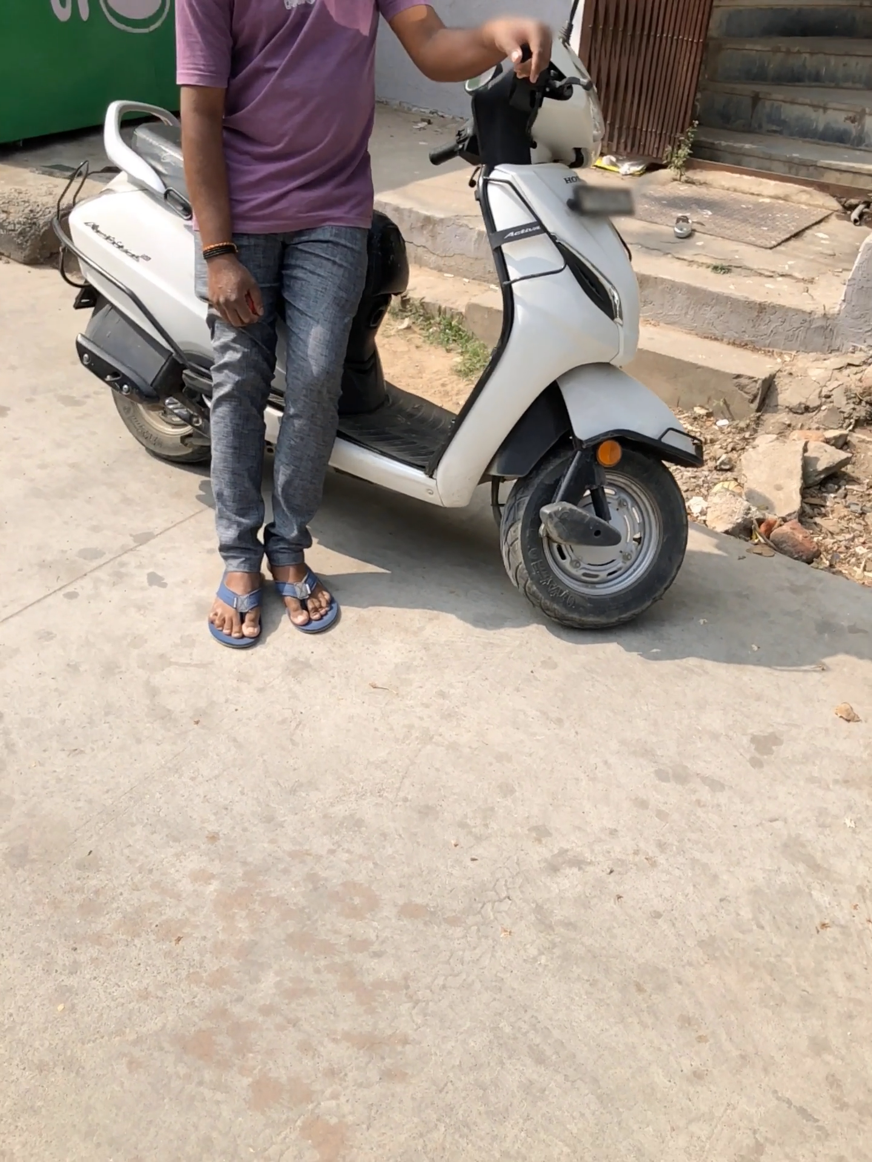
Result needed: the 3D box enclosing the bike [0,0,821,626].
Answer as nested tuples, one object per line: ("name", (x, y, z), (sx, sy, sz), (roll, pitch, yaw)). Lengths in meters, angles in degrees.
("bike", (-0.080, -0.694, 2.211), (1.520, 1.007, 0.651), (17, 38, 19))
